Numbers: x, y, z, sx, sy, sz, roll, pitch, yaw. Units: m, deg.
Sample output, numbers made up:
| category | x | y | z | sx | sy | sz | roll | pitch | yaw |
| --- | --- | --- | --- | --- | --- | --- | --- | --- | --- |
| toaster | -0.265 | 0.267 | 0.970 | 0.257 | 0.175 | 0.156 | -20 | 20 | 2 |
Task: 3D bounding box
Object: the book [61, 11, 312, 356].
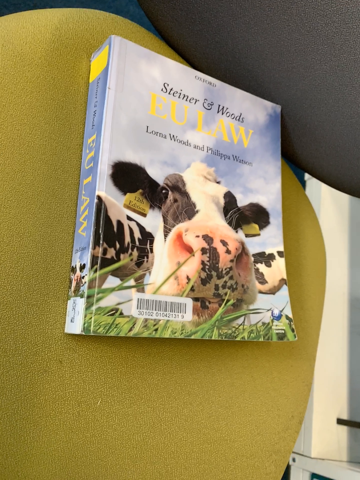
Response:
| category | x | y | z | sx | sy | sz | roll | pitch | yaw |
| --- | --- | --- | --- | --- | --- | --- | --- | --- | --- |
| book | 0.015 | -0.037 | 0.328 | 0.201 | 0.050 | 0.261 | 9 | 72 | -29 |
